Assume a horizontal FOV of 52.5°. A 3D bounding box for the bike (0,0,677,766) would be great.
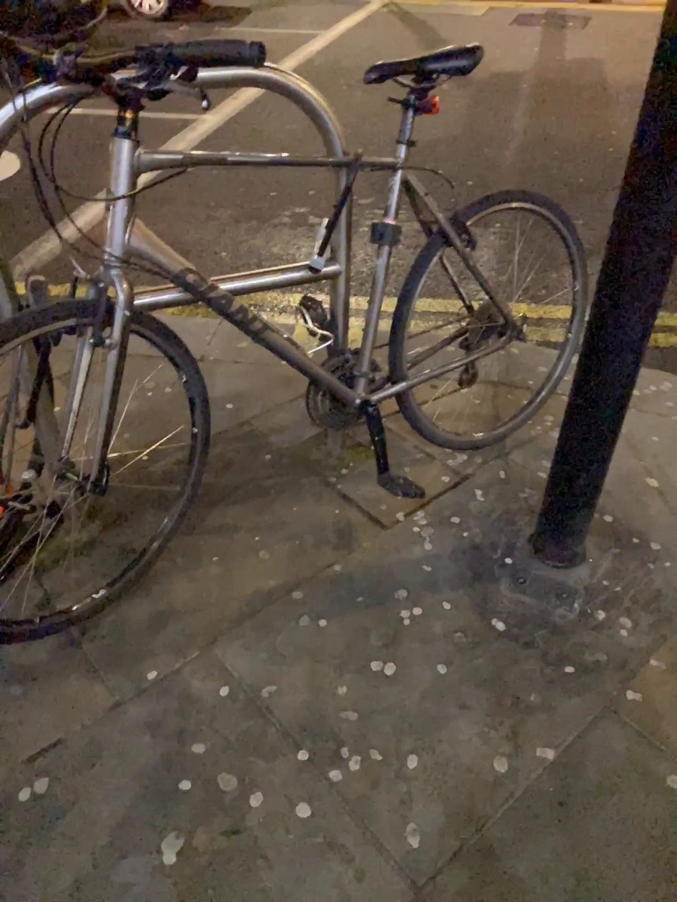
[{"bbox_3d":[-0.126,-0.372,1.580,1.824,1.124,0.710,-26,45,-29],"label":"bike"}]
